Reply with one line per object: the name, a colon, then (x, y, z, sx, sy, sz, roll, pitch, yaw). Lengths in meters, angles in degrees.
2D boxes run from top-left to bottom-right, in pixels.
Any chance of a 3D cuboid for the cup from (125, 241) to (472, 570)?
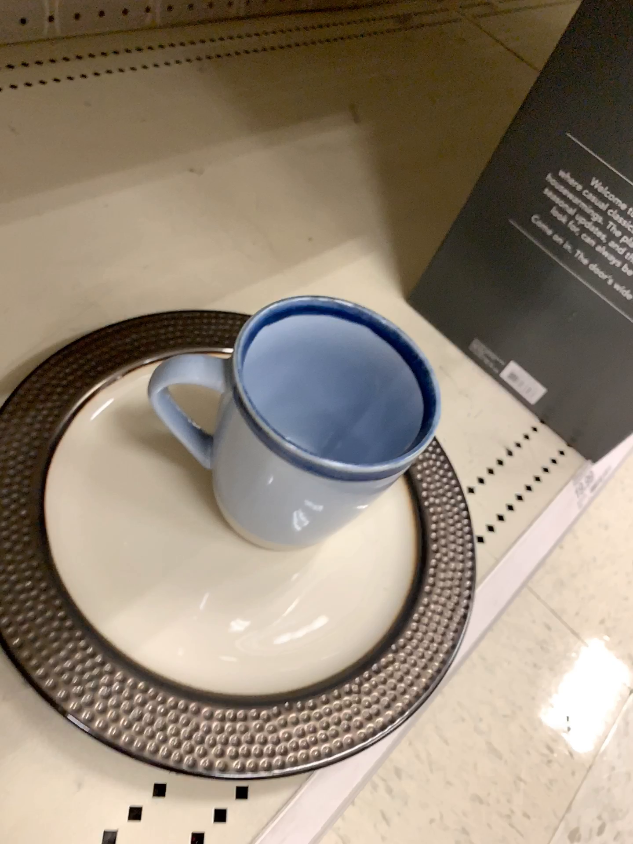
cup: (-0.012, -0.002, 0.310, 0.127, 0.094, 0.094, 12, 54, -13)
